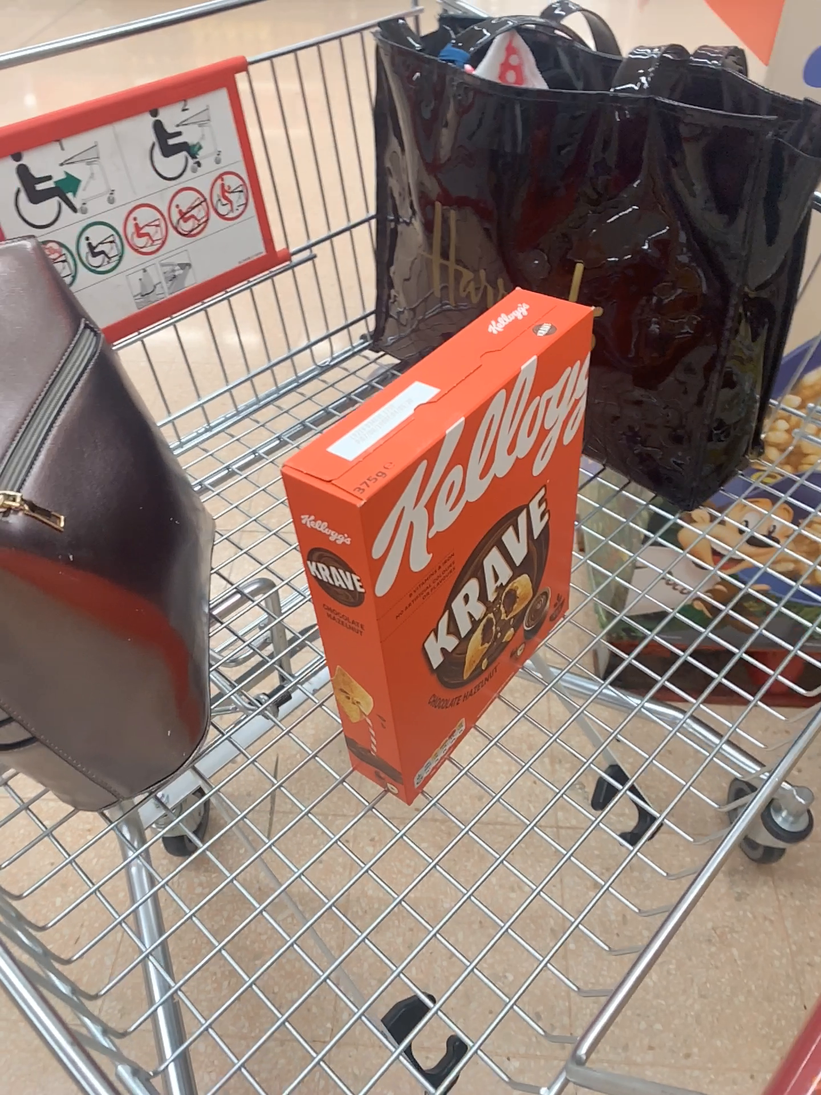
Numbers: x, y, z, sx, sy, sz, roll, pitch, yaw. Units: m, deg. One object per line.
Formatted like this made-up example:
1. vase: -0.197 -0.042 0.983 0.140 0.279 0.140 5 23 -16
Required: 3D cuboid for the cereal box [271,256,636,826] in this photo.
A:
1. cereal box: 0.035 -0.002 0.450 0.050 0.228 0.211 26 50 28
